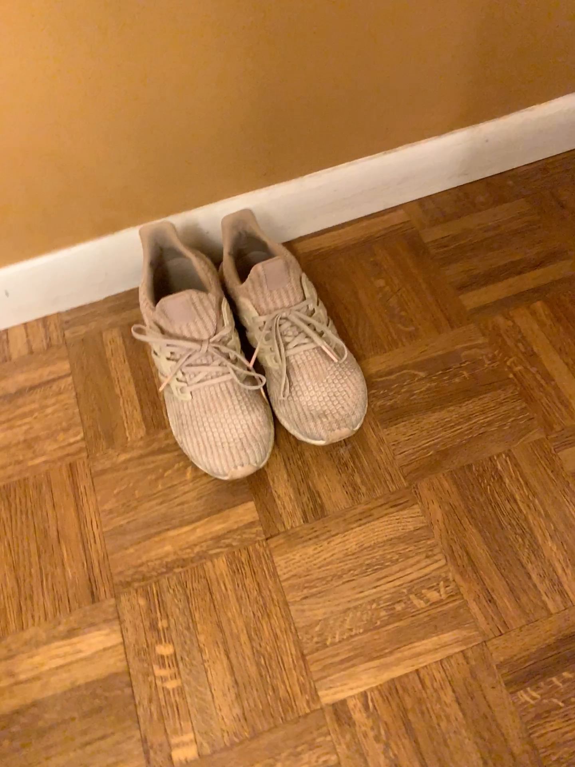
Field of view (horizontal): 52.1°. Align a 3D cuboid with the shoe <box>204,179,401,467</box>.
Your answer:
[{"bbox_3d":[0.009,-0.060,0.628,0.110,0.120,0.260,-19,74,-6],"label":"shoe"}]

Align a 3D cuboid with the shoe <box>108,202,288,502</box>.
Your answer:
[{"bbox_3d":[-0.094,-0.031,0.637,0.100,0.130,0.281,-19,72,-6],"label":"shoe"}]
